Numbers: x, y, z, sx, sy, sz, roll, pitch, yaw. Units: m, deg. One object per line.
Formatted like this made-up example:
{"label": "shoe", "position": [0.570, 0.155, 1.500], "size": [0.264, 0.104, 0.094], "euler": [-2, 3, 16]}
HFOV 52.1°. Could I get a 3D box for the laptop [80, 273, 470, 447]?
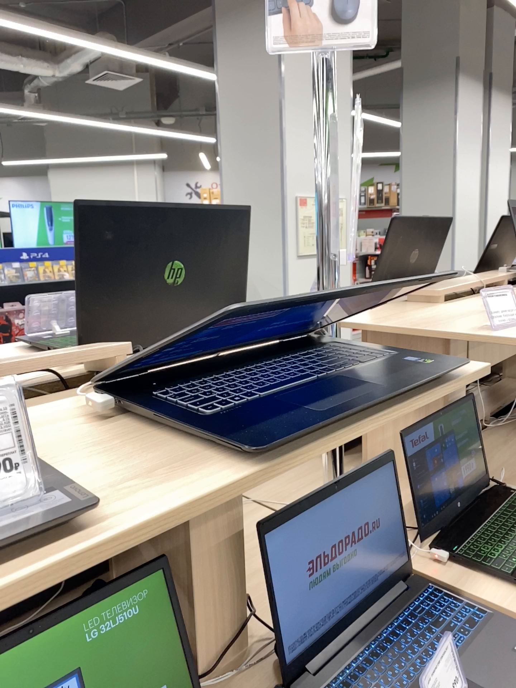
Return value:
{"label": "laptop", "position": [0.039, -0.016, 0.643], "size": [0.397, 0.103, 0.263], "euler": [-12, 16, -43]}
